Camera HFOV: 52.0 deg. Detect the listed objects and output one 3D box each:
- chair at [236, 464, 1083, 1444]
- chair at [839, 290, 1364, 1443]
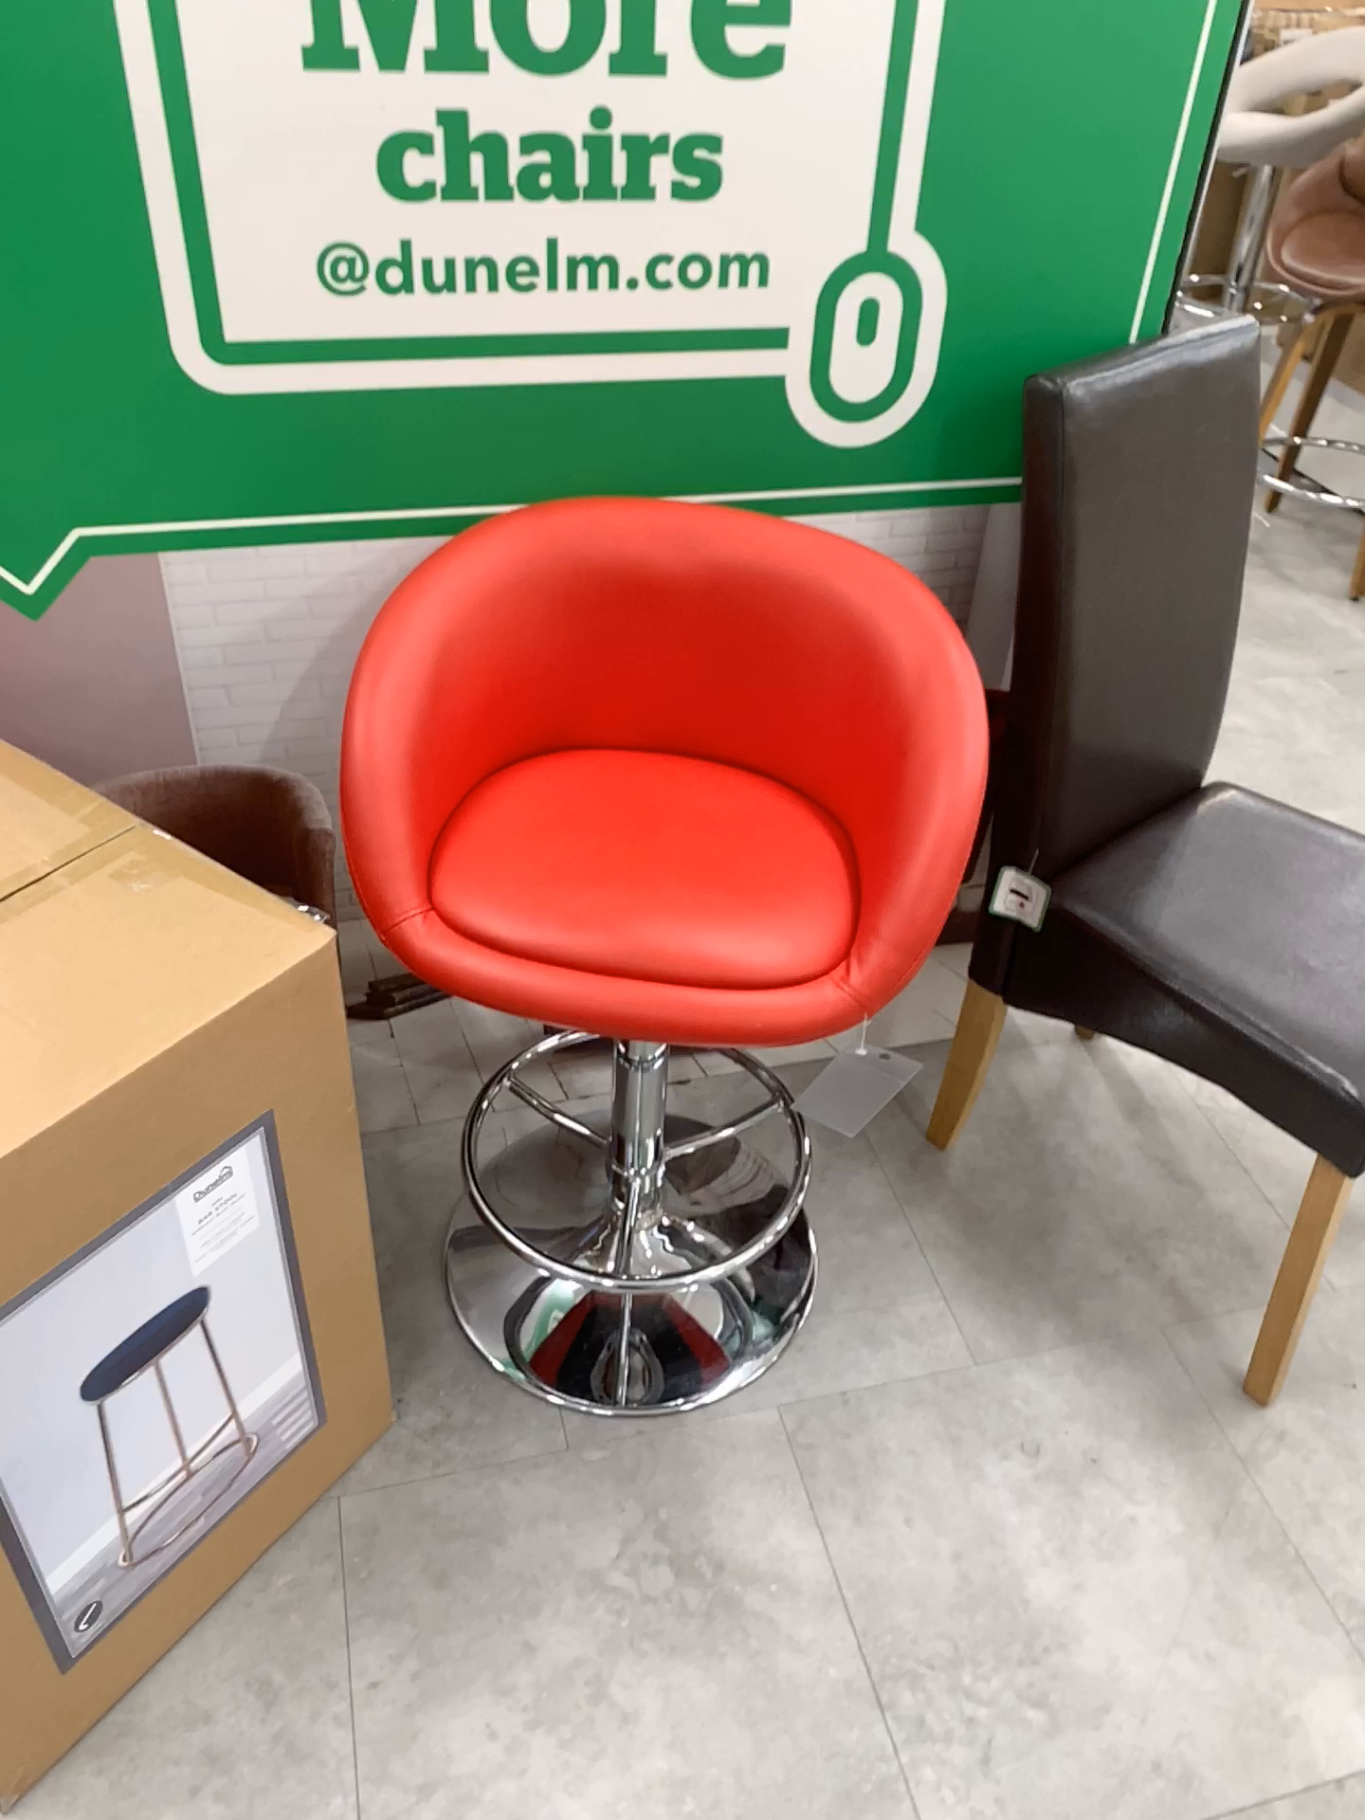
[{"bbox_3d":[-0.021,0.053,1.288,0.534,0.744,0.465,3,37,0],"label":"chair"},{"bbox_3d":[0.564,-0.059,1.365,0.506,0.852,0.533,-29,47,-35],"label":"chair"}]
